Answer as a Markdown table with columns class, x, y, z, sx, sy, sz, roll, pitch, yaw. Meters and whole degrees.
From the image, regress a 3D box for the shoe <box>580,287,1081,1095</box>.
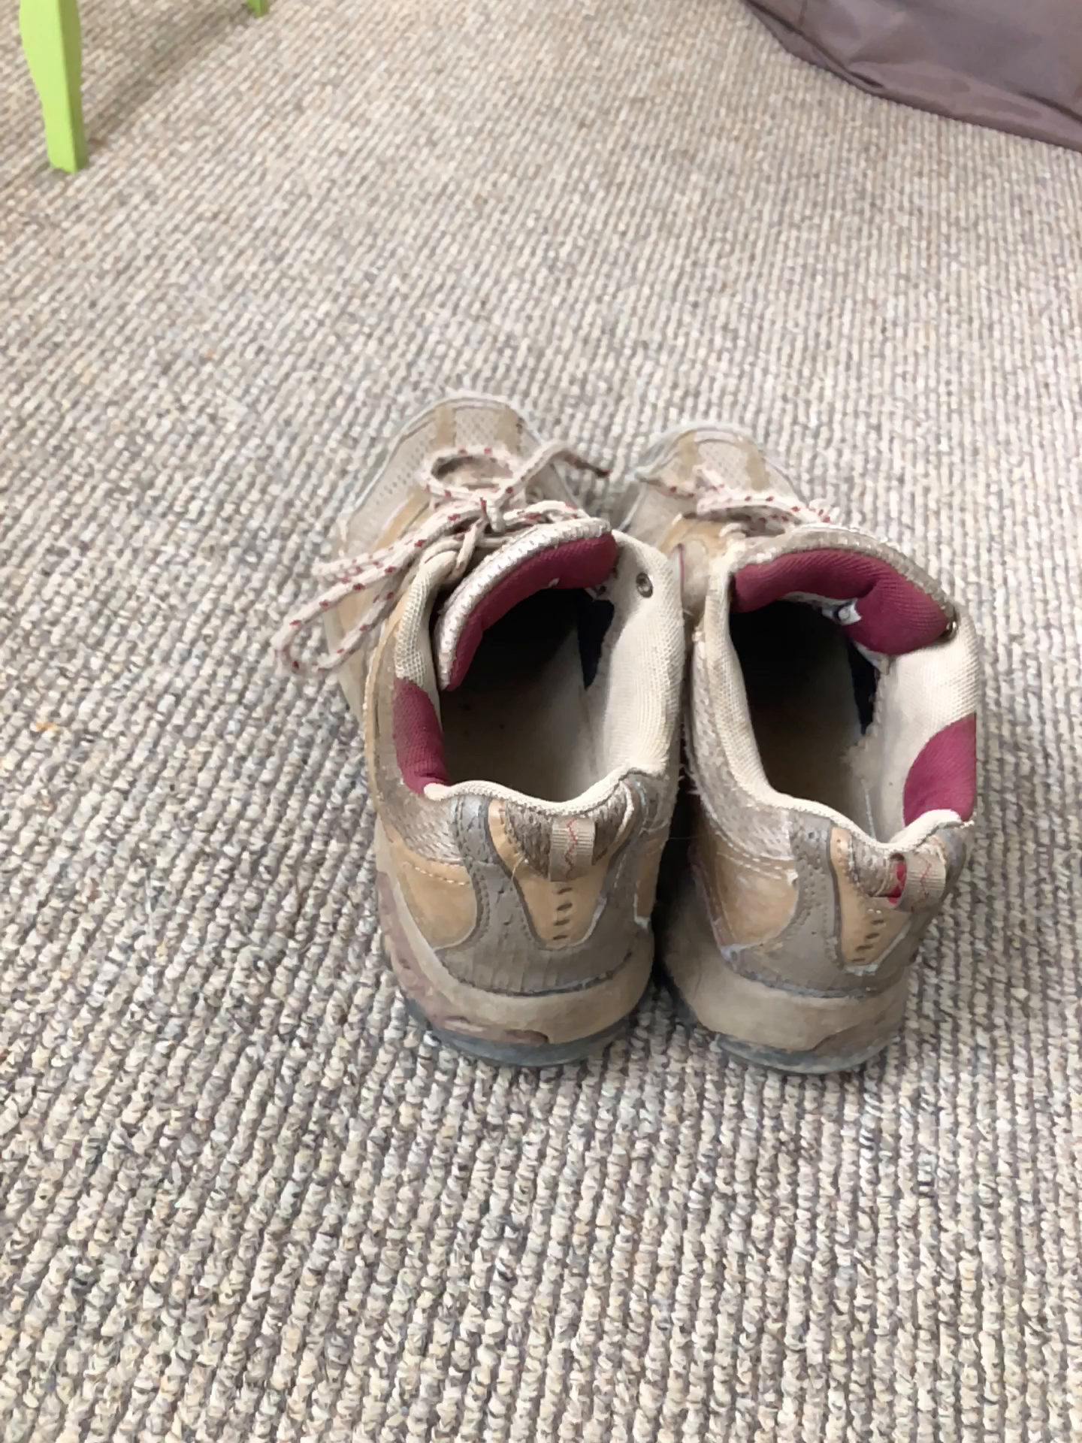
| class | x | y | z | sx | sy | sz | roll | pitch | yaw |
| --- | --- | --- | --- | --- | --- | --- | --- | --- | --- |
| shoe | 0.091 | -0.021 | 0.440 | 0.112 | 0.123 | 0.273 | 5 | 50 | -10 |

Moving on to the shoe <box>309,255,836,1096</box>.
| class | x | y | z | sx | sy | sz | roll | pitch | yaw |
| --- | --- | --- | --- | --- | --- | --- | --- | --- | --- |
| shoe | -0.014 | -0.030 | 0.418 | 0.111 | 0.118 | 0.271 | -1 | 51 | -15 |
